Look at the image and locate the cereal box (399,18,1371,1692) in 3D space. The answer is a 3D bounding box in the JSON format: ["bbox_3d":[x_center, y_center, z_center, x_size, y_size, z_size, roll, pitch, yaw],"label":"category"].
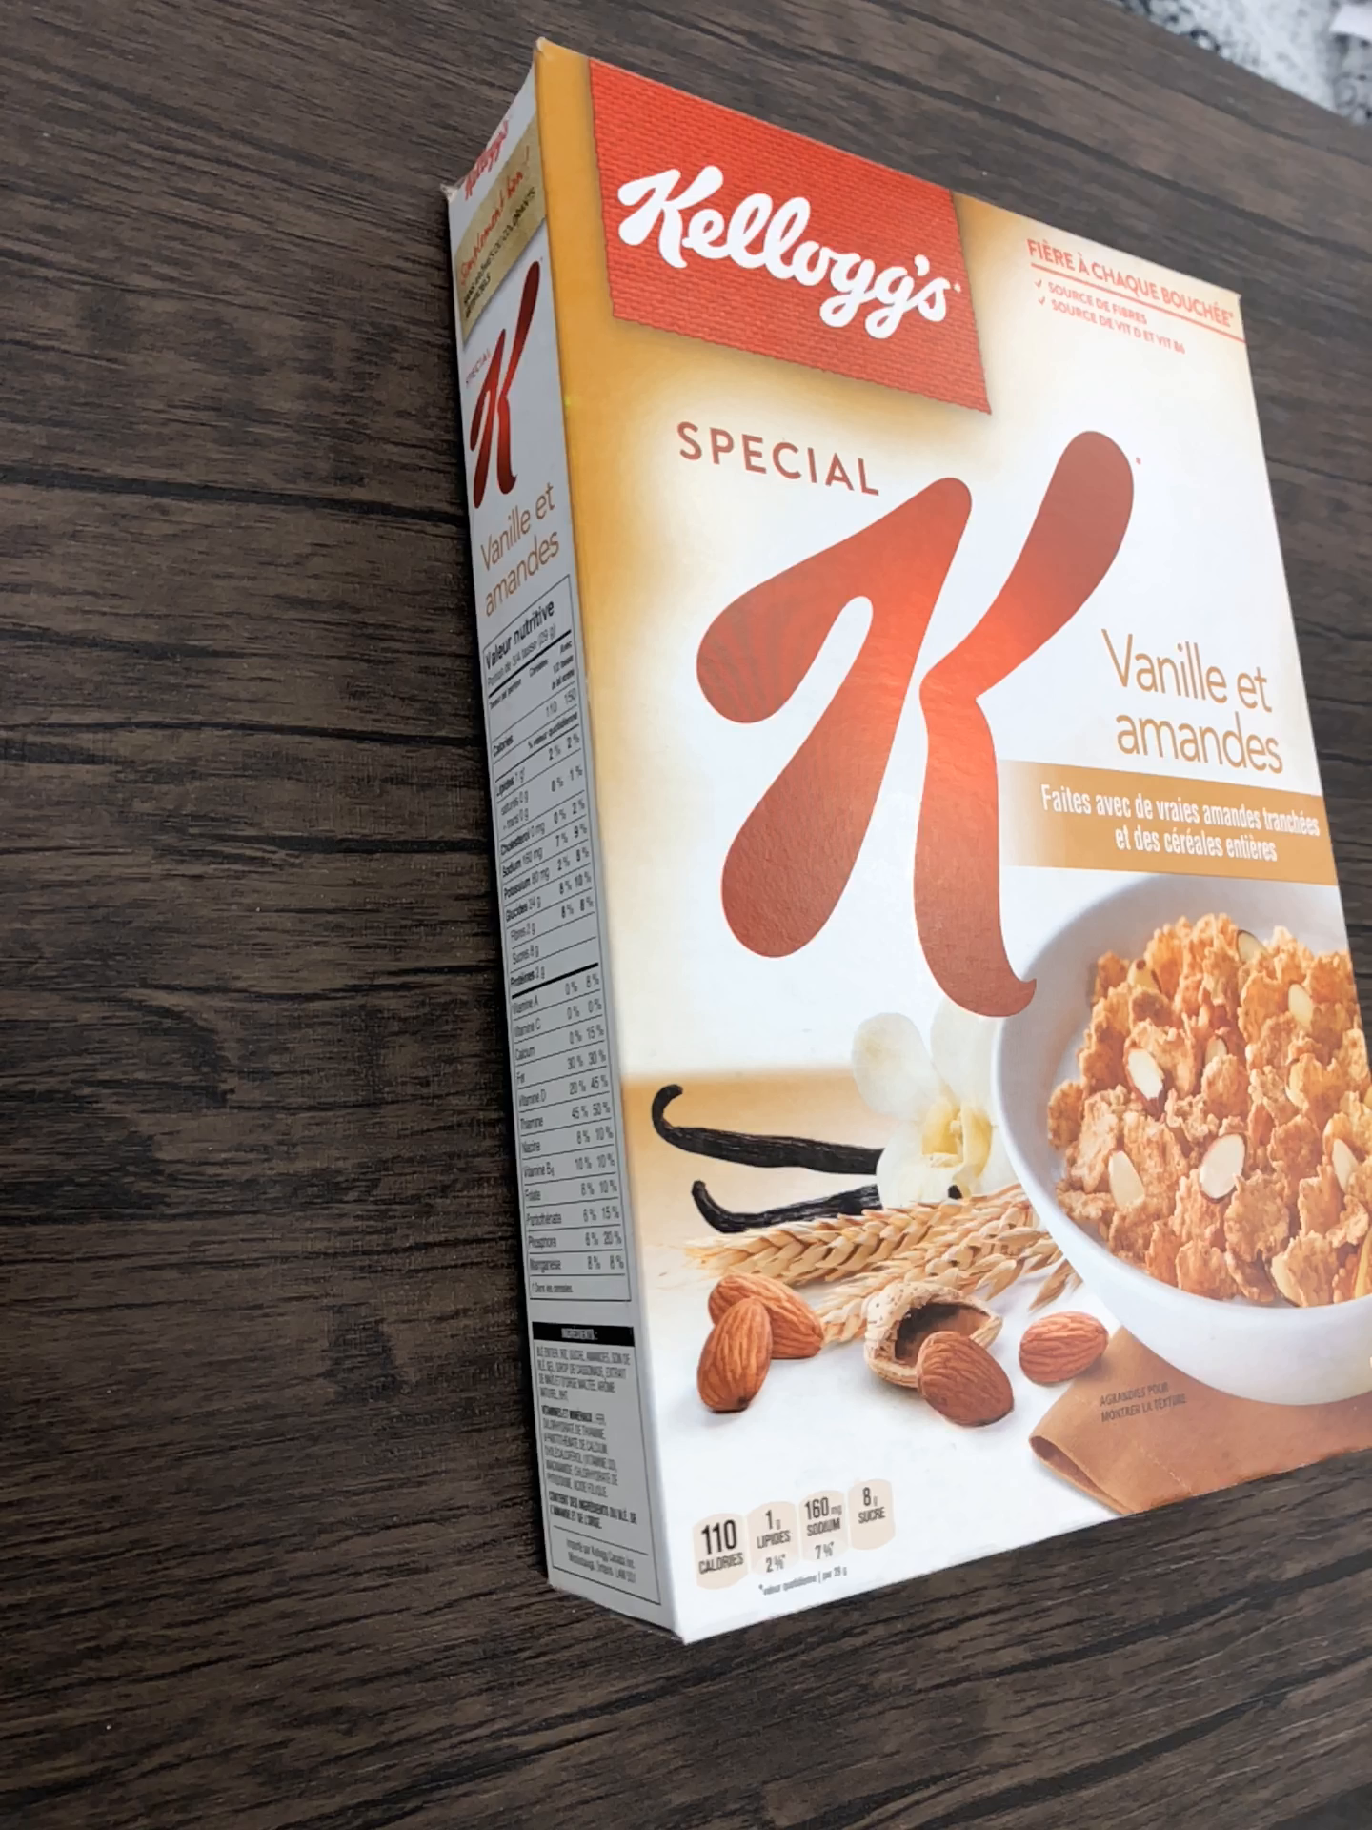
[{"bbox_3d":[0.052,-0.014,0.321,0.201,0.060,0.270,1,79,-33],"label":"cereal box"}]
